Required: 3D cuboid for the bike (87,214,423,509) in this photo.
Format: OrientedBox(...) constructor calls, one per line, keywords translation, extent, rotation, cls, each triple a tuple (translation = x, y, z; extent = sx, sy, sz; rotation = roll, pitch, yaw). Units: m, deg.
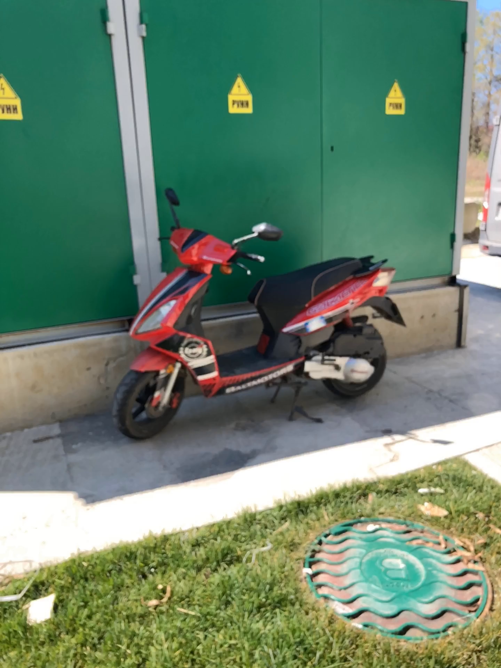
OrientedBox(translation=(0.093, 0.022, 2.835), extent=(1.591, 1.087, 0.590), rotation=(-9, 17, -20), cls="bike")
